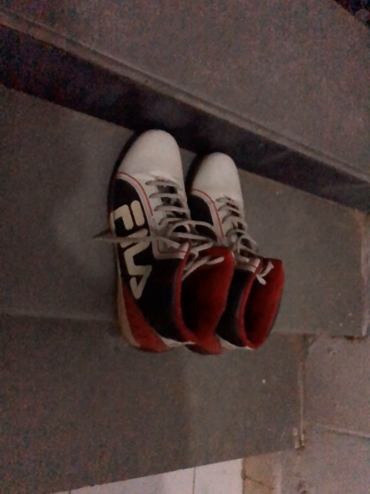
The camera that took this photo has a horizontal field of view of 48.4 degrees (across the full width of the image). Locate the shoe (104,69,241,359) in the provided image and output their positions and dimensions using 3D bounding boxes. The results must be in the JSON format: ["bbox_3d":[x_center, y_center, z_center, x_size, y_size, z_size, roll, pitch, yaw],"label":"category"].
[{"bbox_3d":[-0.015,-0.029,0.504,0.111,0.119,0.310,8,76,-34],"label":"shoe"}]

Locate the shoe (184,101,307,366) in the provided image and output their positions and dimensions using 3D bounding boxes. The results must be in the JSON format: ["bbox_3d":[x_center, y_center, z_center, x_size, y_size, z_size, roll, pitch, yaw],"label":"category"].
[{"bbox_3d":[0.080,-0.010,0.537,0.111,0.100,0.310,11,75,-34],"label":"shoe"}]
